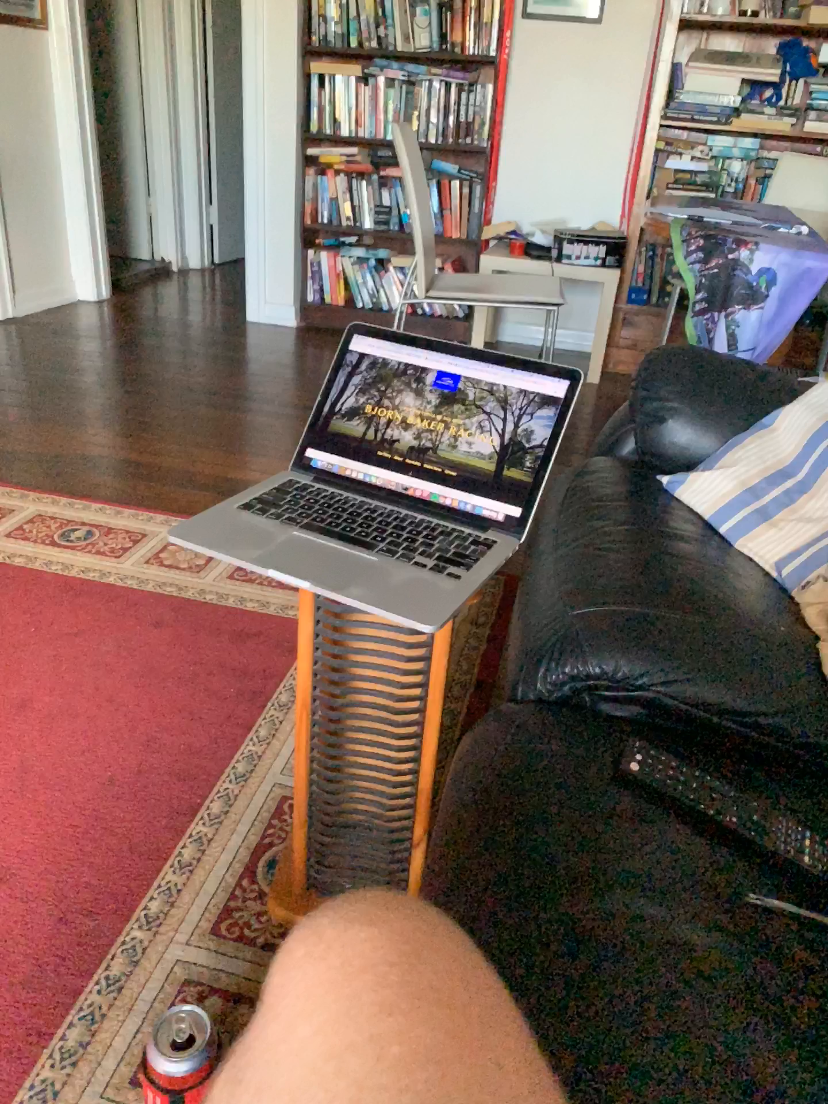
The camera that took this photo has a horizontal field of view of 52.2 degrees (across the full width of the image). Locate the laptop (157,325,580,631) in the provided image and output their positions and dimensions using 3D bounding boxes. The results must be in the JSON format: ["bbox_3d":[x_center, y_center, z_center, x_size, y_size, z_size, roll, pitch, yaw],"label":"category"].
[{"bbox_3d":[-0.033,-0.109,0.907,0.313,0.161,0.341,18,29,23],"label":"laptop"}]
